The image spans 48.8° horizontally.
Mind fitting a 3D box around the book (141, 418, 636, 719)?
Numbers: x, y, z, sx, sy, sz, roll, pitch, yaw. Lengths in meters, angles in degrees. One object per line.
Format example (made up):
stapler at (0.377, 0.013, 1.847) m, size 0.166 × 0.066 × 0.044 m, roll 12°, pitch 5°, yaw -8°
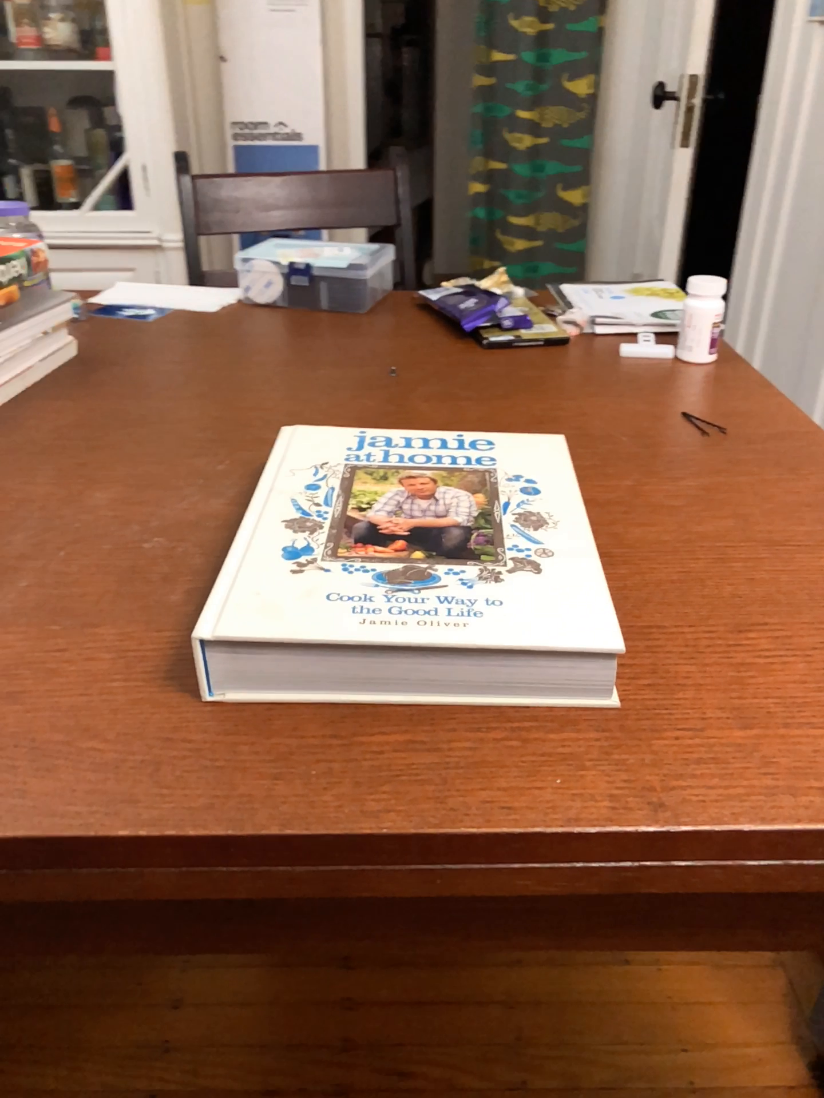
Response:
book at (-0.006, -0.007, 0.509) m, size 0.210 × 0.040 × 0.262 m, roll 1°, pitch 29°, yaw 2°
